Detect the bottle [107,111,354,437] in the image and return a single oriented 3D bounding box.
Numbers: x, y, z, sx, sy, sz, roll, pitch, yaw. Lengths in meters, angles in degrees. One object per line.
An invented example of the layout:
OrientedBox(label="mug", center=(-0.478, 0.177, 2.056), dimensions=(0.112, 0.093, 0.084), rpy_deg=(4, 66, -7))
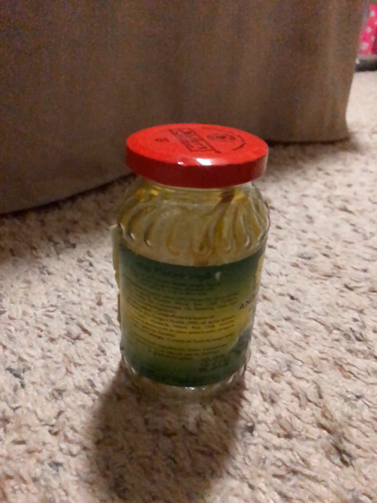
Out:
OrientedBox(label="bottle", center=(0.005, 0.006, 0.177), dimensions=(0.070, 0.110, 0.070), rpy_deg=(3, 29, -2))
